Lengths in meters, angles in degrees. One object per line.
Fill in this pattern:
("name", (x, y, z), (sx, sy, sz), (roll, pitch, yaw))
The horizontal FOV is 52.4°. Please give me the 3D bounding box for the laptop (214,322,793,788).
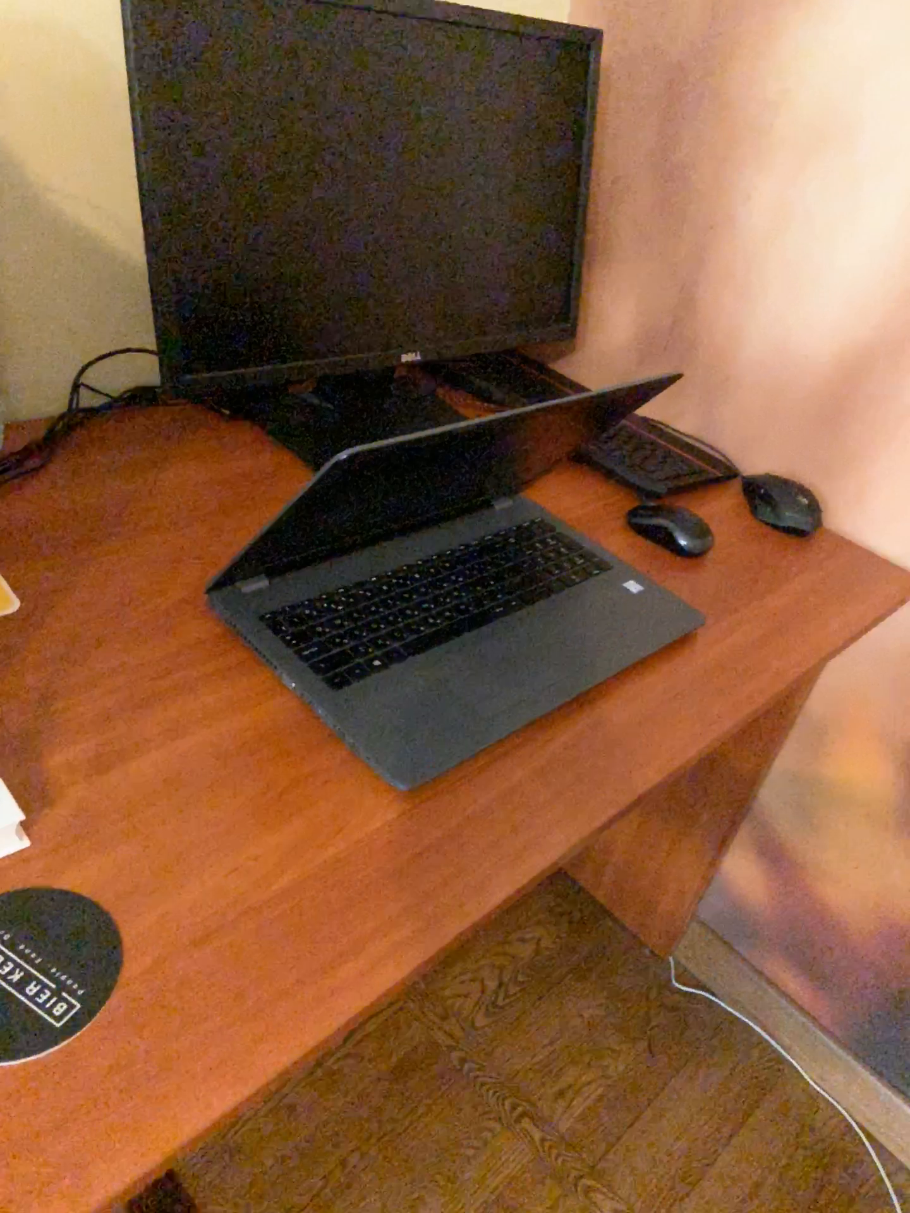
("laptop", (0.042, -0.076, 0.763), (0.387, 0.193, 0.245), (-22, 48, -39))
